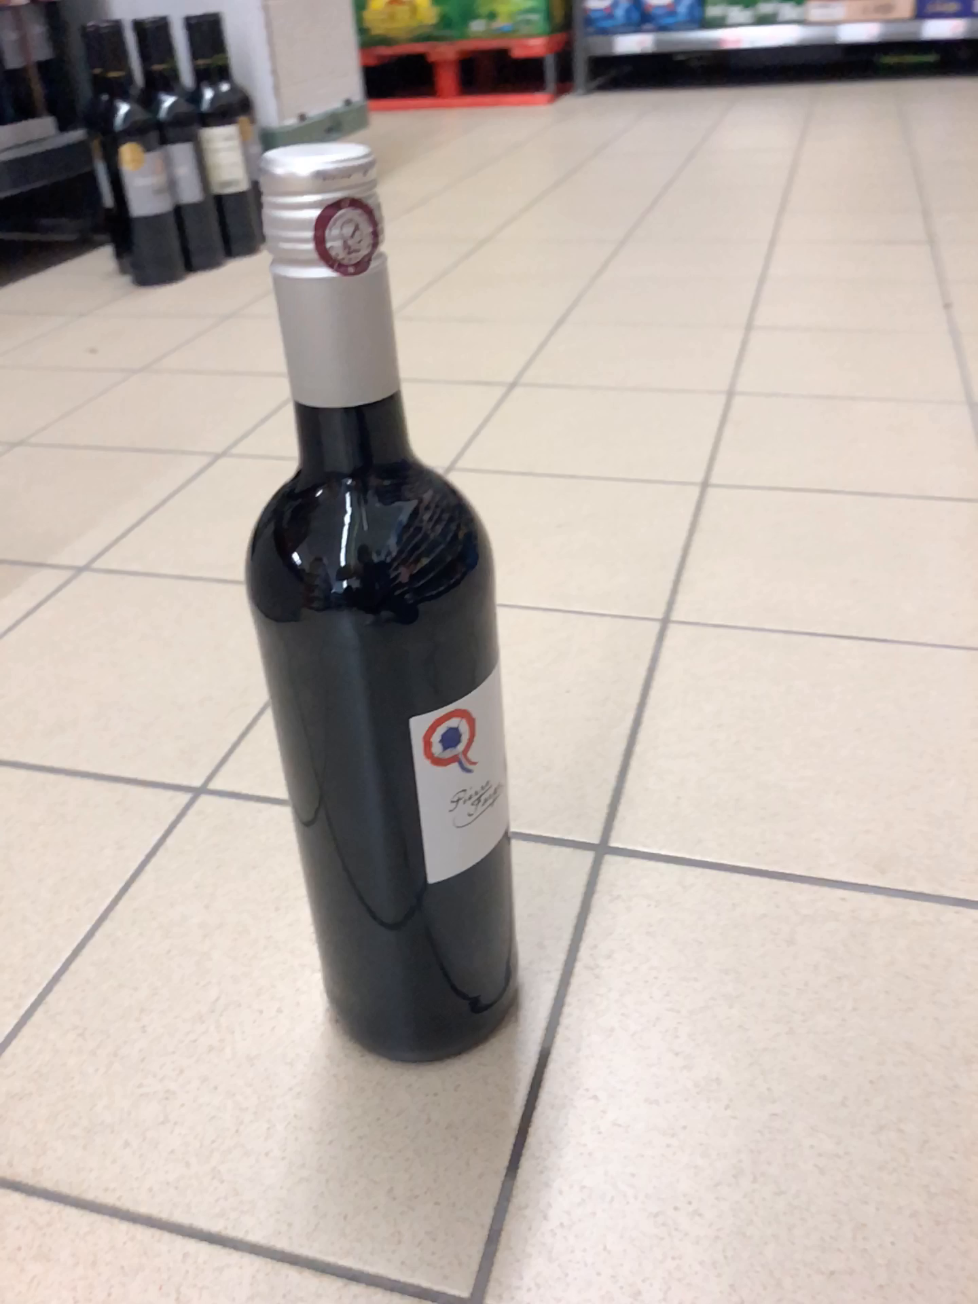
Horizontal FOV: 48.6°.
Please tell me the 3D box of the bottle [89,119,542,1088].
[{"bbox_3d":[-0.033,0.003,0.343,0.080,0.298,0.081,-3,32,2],"label":"bottle"}]
